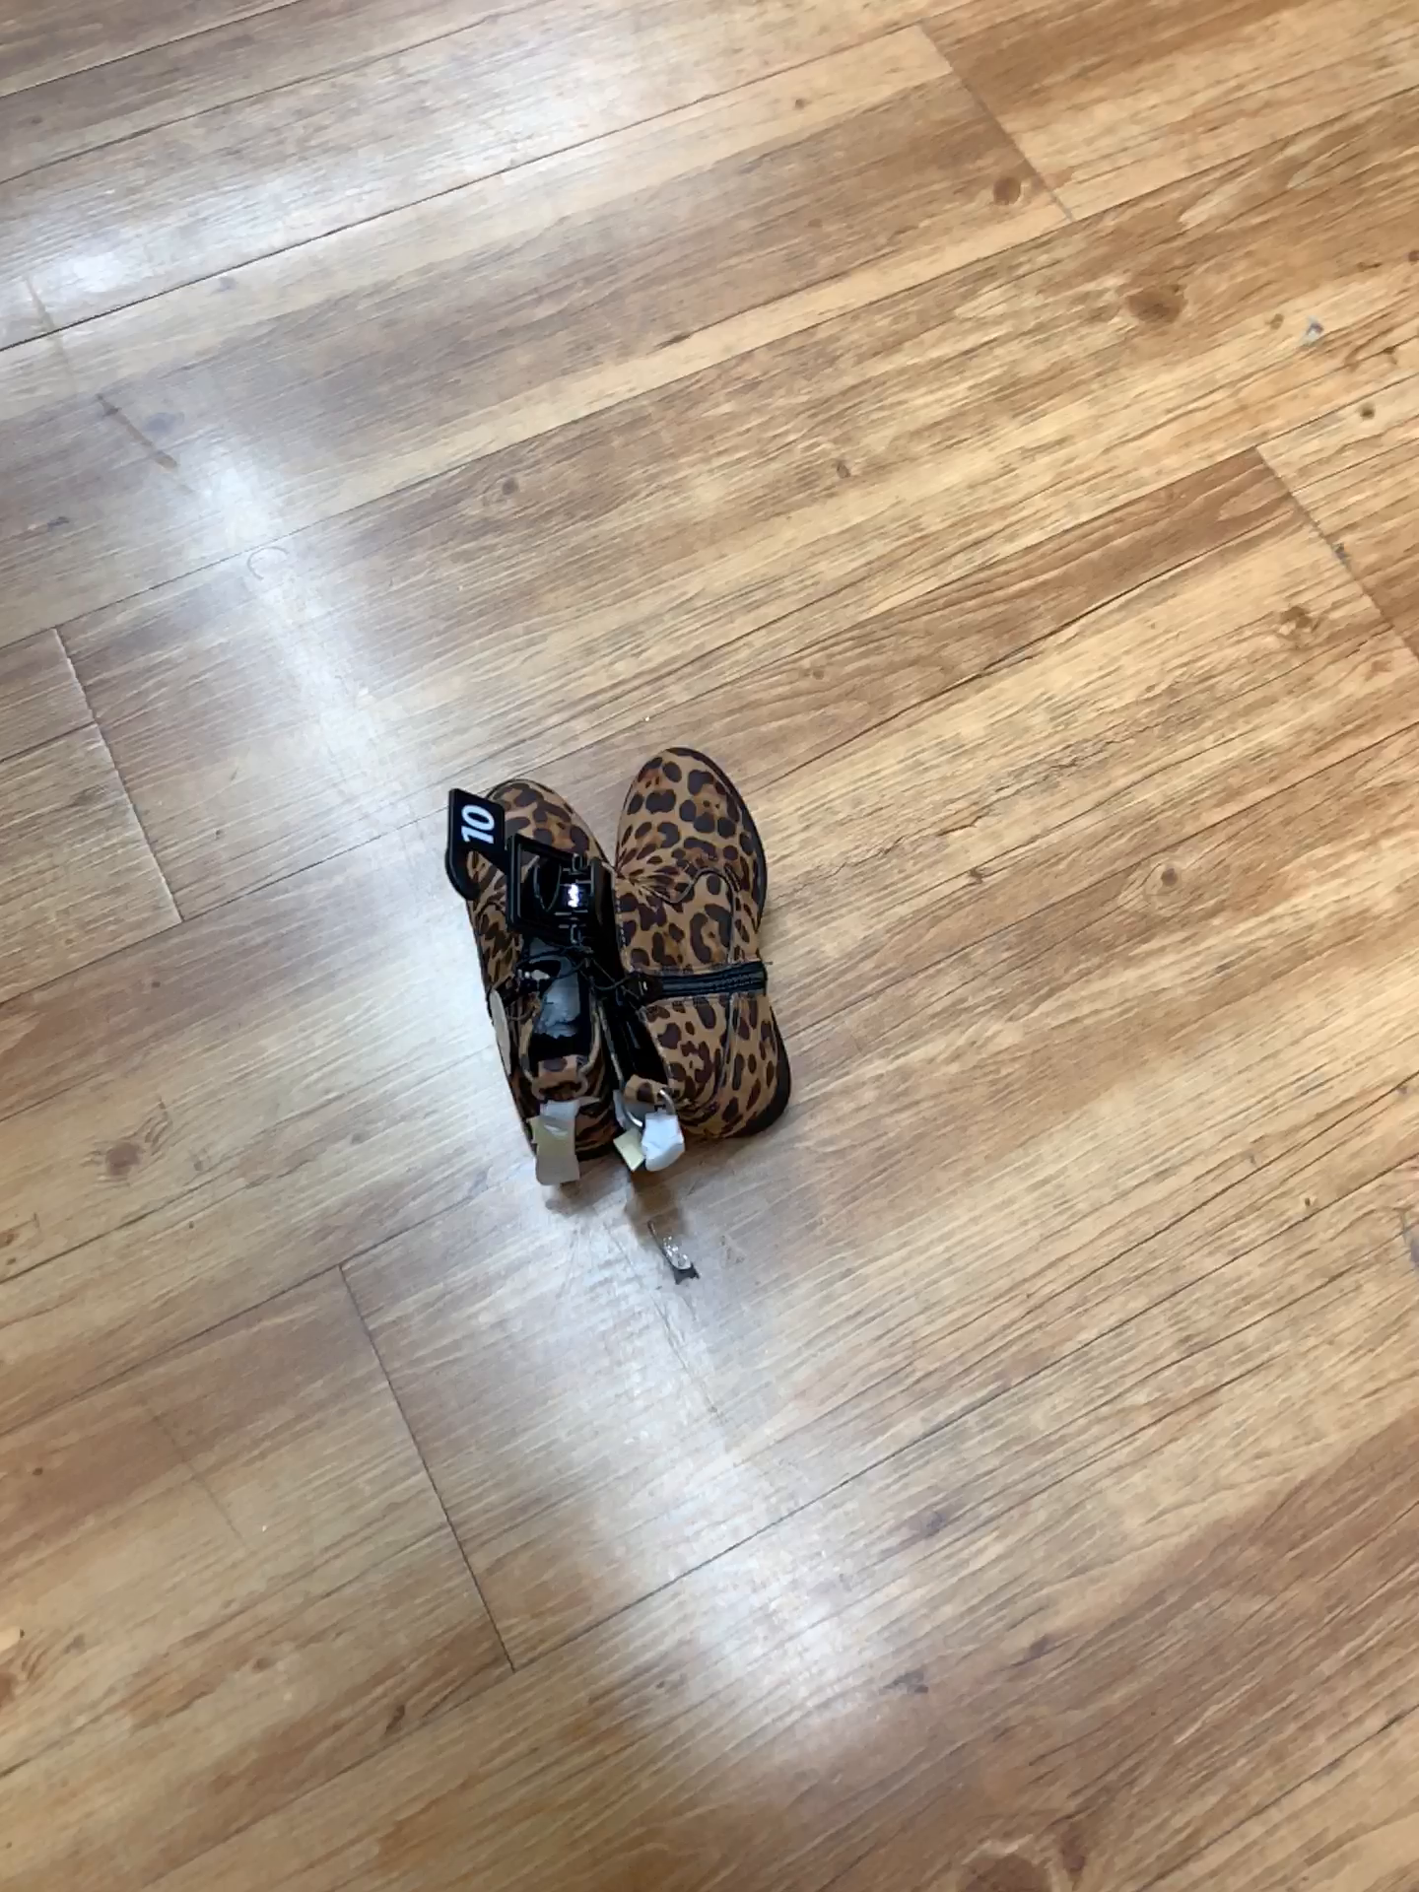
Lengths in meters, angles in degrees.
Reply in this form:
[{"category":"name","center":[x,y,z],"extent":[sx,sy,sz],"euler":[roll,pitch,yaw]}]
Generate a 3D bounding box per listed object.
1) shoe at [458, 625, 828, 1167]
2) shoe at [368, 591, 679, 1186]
[{"category":"shoe","center":[-0.026,-0.014,0.581],"extent":[0.070,0.120,0.180],"euler":[-20,68,22]},{"category":"shoe","center":[-0.070,-0.018,0.564],"extent":[0.070,0.120,0.190],"euler":[-13,70,-7]}]
